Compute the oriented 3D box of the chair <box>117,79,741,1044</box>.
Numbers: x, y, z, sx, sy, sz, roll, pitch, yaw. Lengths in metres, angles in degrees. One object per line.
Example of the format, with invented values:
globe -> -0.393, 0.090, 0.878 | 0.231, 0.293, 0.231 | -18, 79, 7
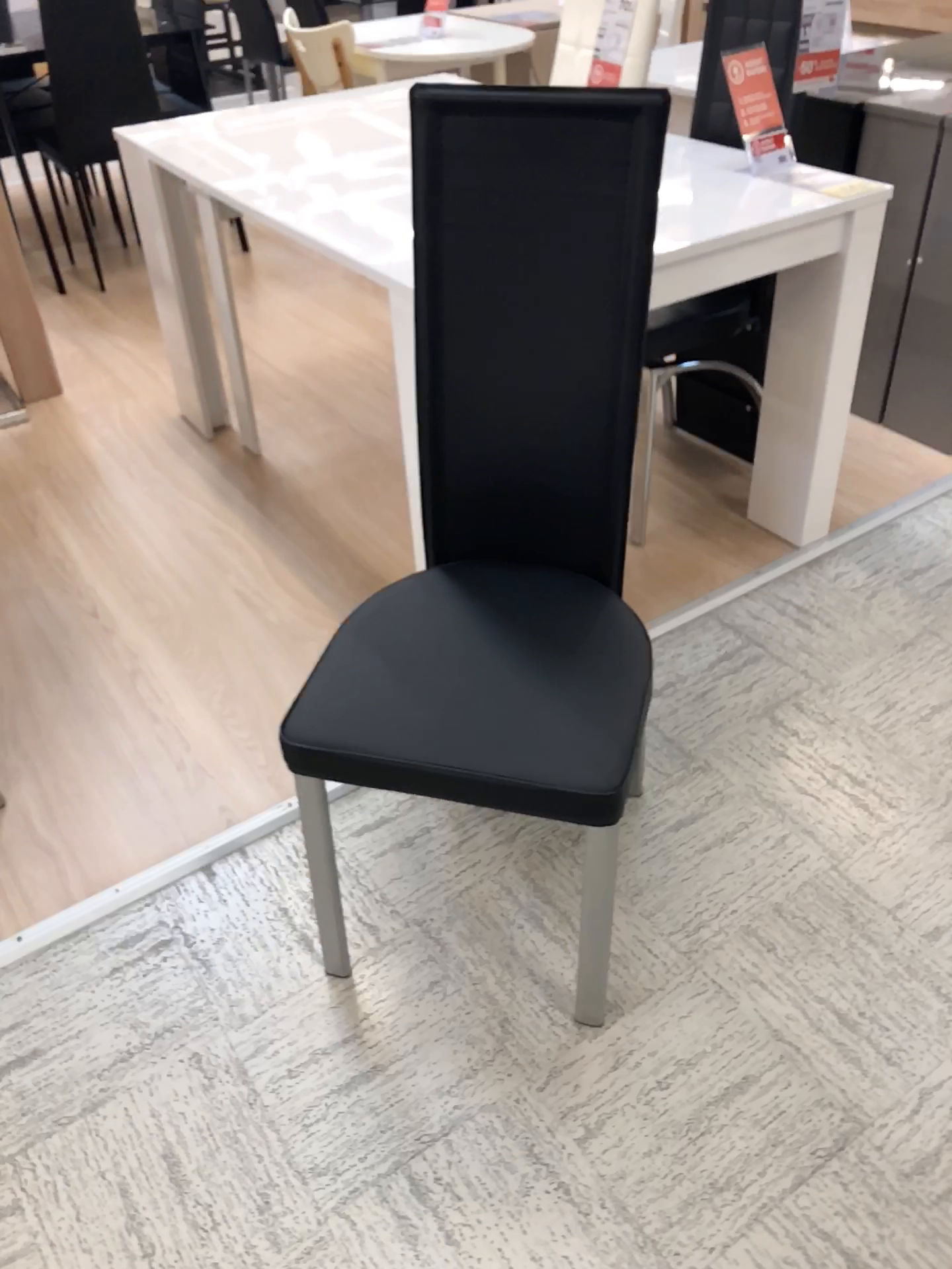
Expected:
chair -> 0.020, -0.058, 1.265 | 0.450, 1.014, 0.493 | 7, 38, 13
